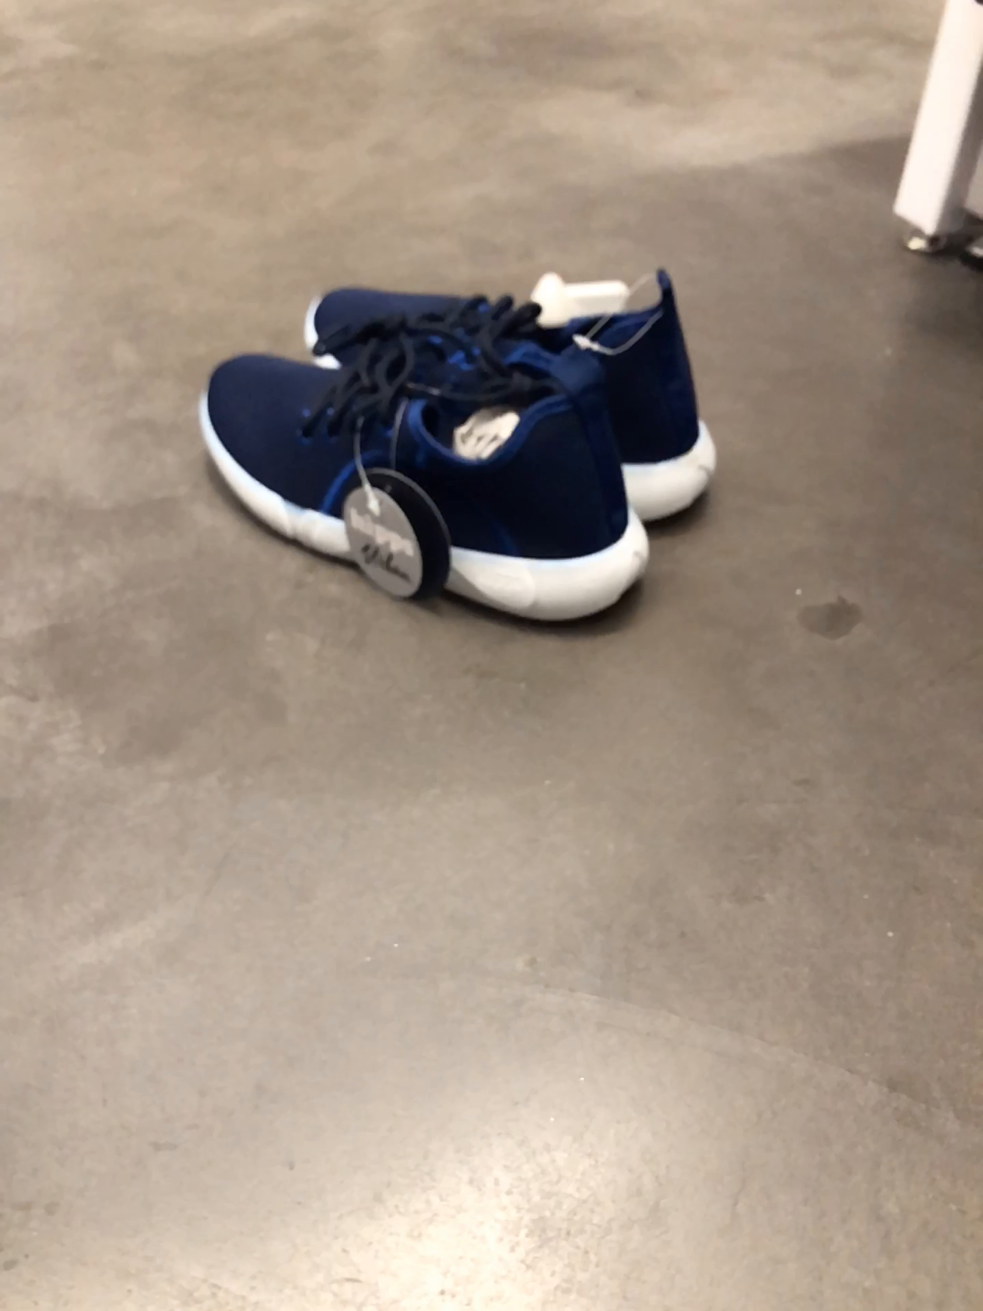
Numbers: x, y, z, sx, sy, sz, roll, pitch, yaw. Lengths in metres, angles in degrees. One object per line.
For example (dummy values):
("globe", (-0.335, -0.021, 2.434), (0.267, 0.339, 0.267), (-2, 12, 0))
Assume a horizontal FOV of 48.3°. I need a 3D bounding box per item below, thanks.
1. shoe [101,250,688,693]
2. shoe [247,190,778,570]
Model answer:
("shoe", (-0.046, -0.091, 0.486), (0.240, 0.089, 0.091), (26, 49, 25))
("shoe", (0.004, -0.145, 0.544), (0.240, 0.089, 0.091), (26, 49, 25))
